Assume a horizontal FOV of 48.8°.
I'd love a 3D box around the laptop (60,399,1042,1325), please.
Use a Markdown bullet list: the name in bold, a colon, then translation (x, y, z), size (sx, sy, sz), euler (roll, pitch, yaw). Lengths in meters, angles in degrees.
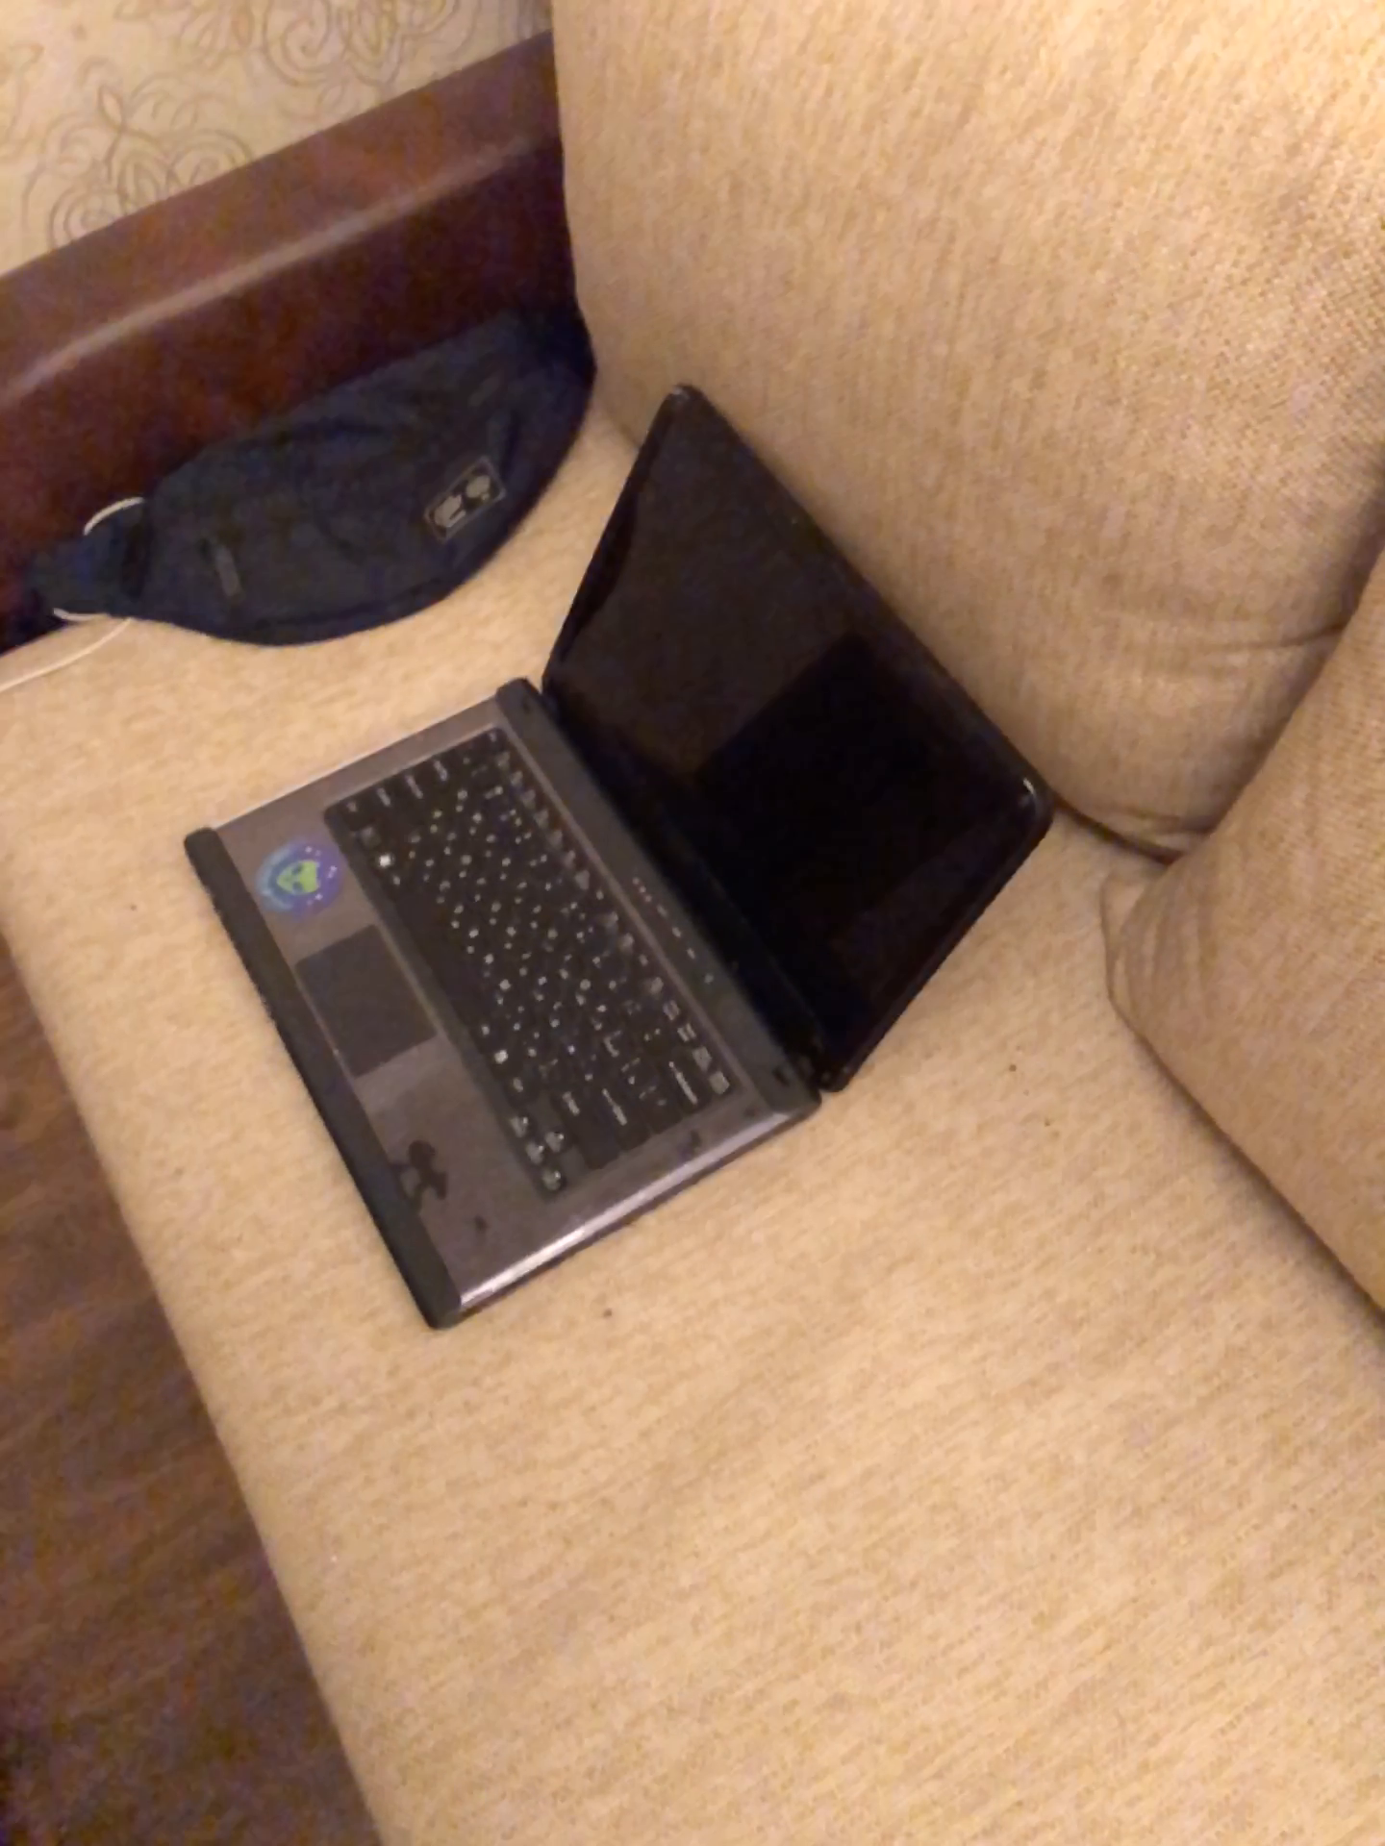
- **laptop**: translation (-0.072, -0.044, 0.803), size (0.349, 0.174, 0.339), euler (-29, 63, -13)
